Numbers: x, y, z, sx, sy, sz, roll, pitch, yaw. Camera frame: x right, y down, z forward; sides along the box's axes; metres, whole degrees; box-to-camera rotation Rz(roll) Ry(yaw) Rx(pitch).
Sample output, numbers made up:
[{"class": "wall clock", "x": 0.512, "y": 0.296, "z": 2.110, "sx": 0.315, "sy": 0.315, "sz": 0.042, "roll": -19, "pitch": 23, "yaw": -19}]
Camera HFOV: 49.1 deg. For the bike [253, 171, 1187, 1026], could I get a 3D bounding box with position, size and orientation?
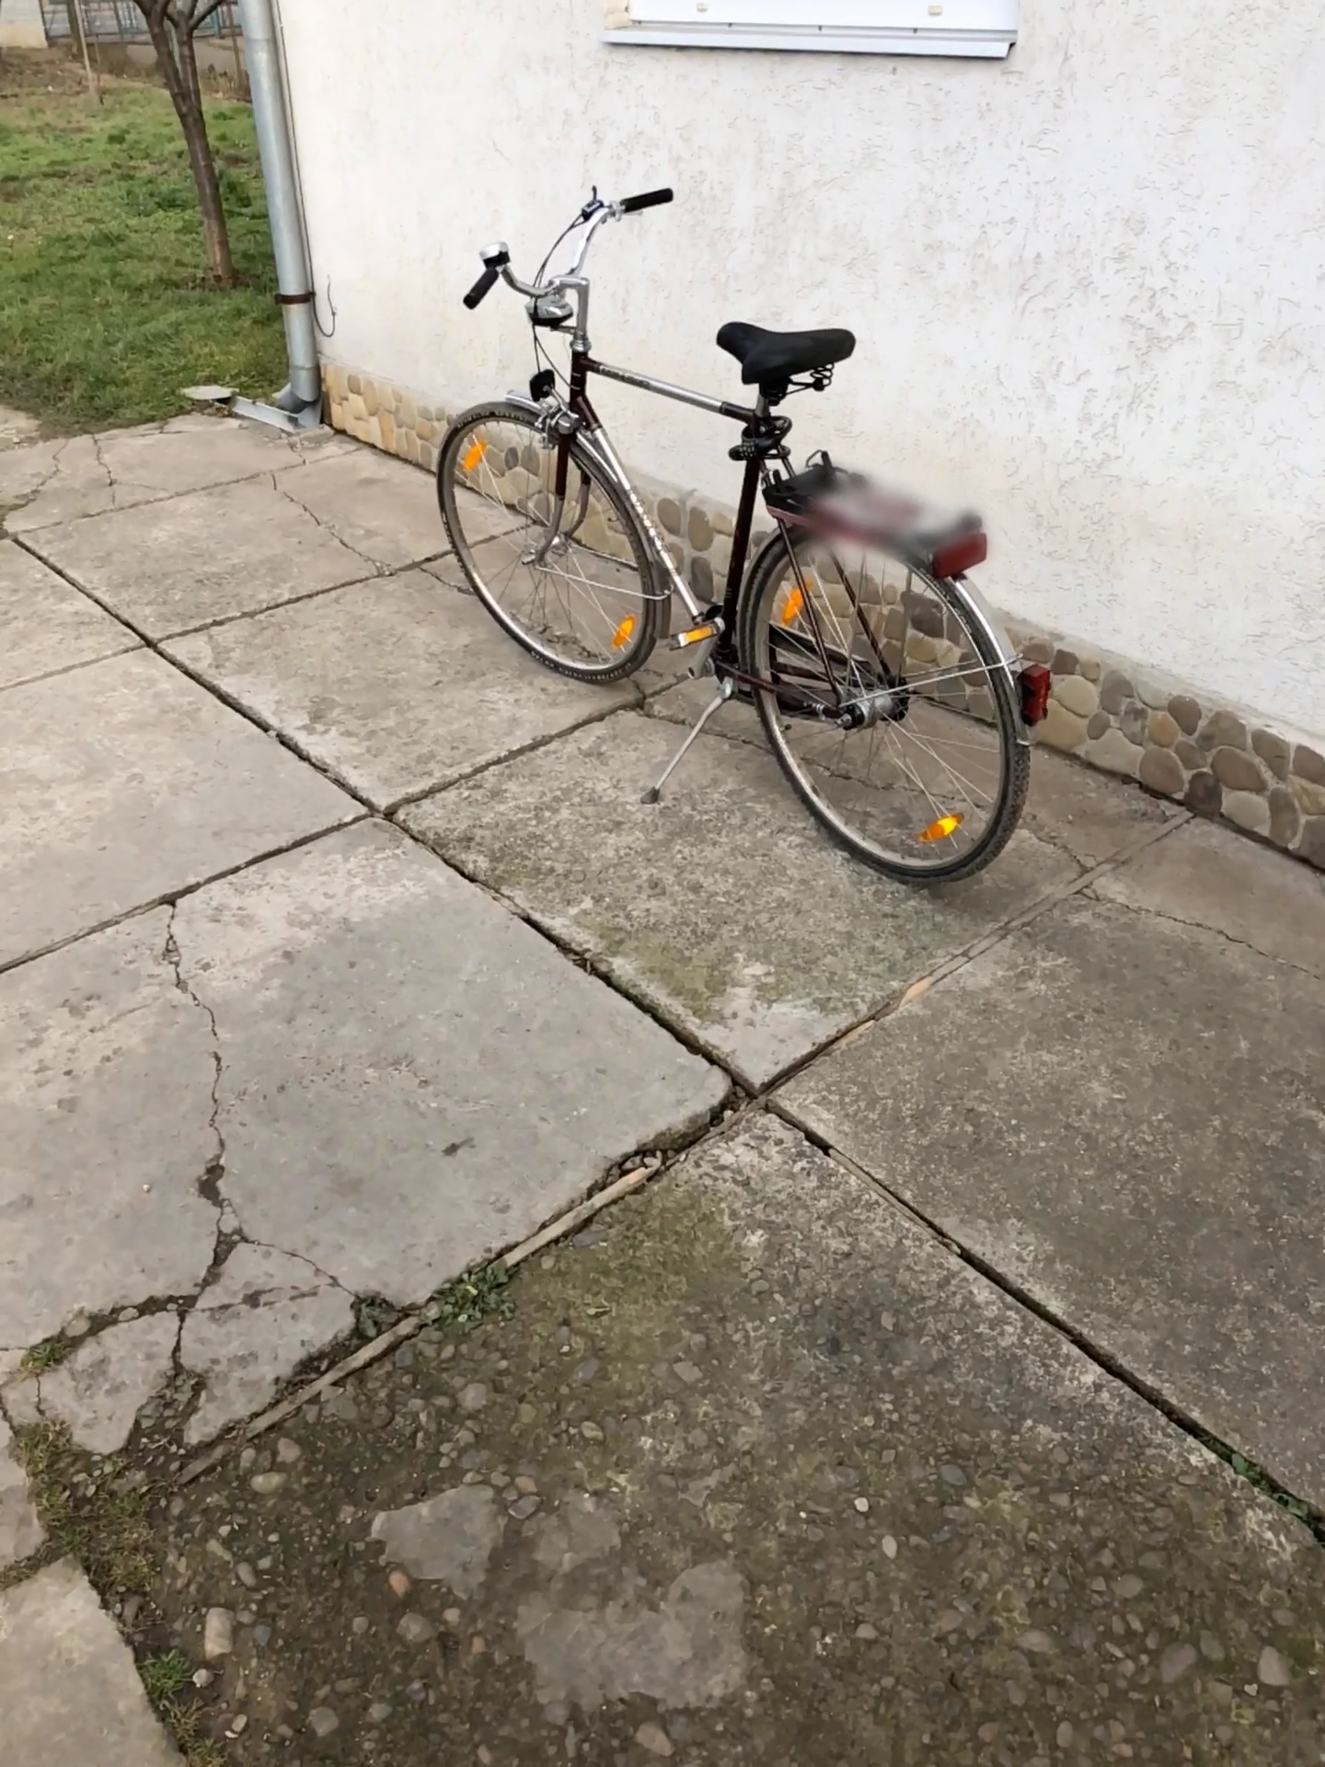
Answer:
[{"class": "bike", "x": -0.029, "y": -0.670, "z": 2.758, "sx": 0.598, "sy": 1.054, "sz": 1.716, "roll": -24, "pitch": 39, "yaw": -32}]
